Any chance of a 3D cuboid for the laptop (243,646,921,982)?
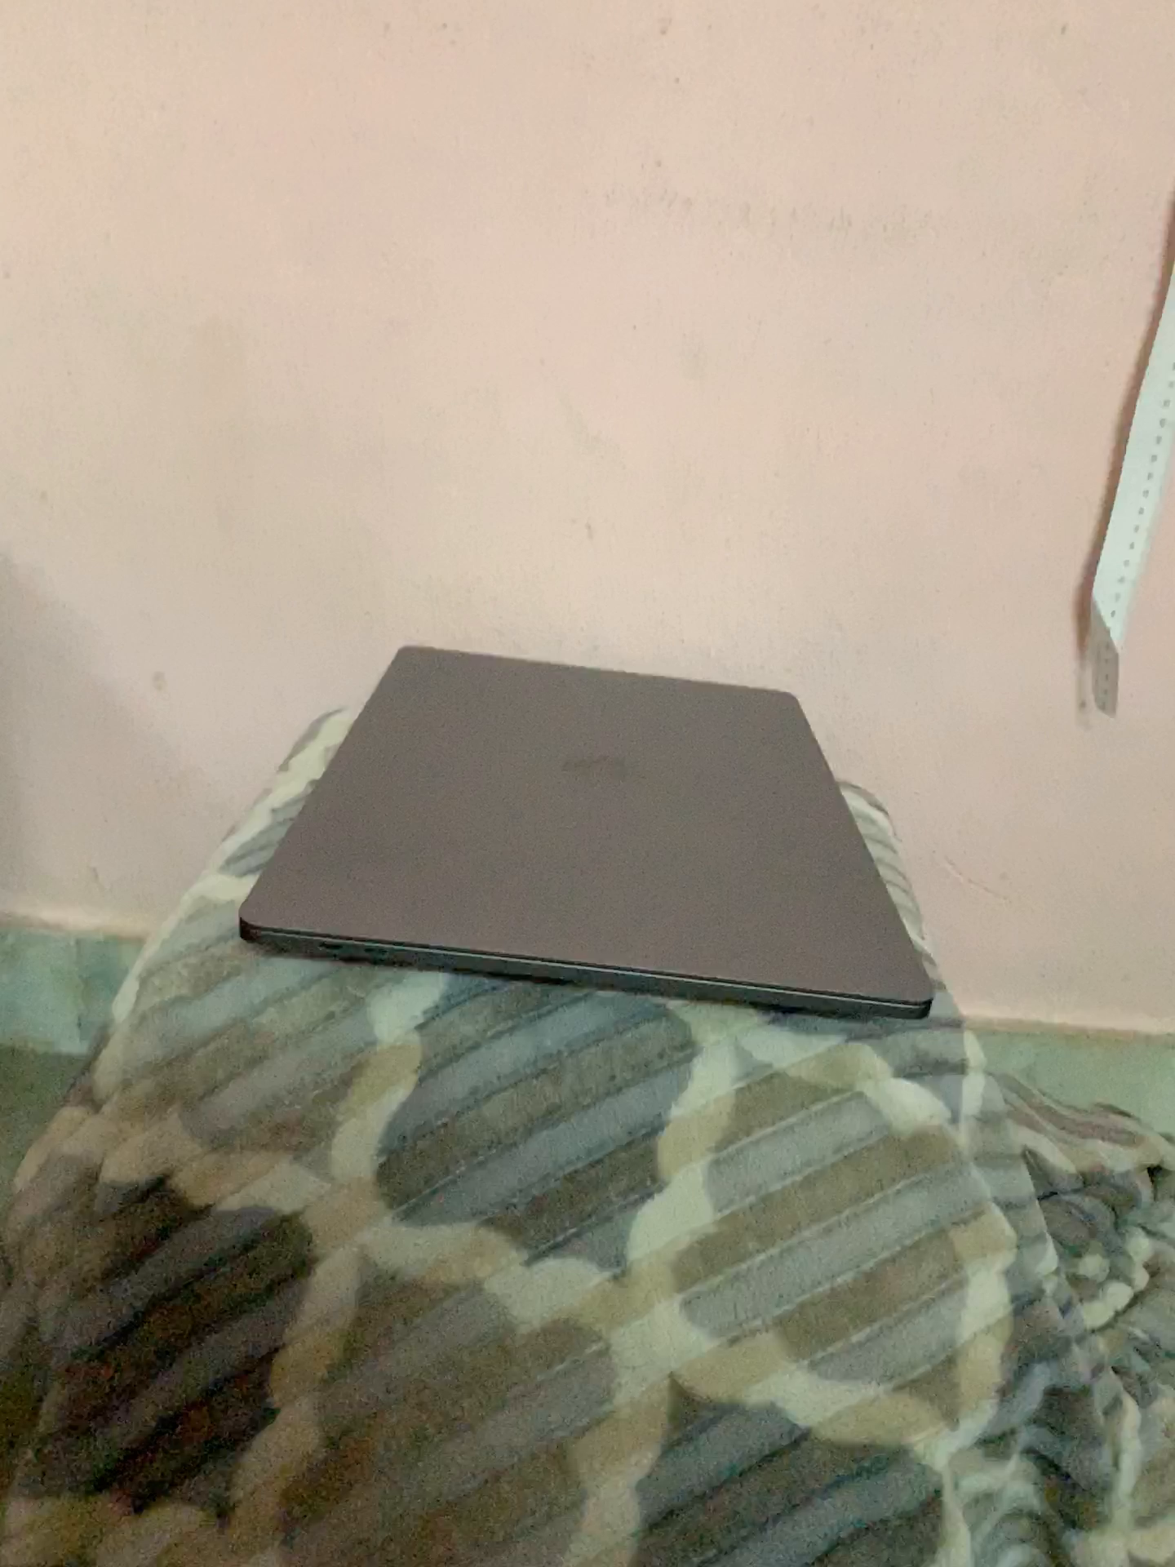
[{"bbox_3d":[0.001,-0.007,0.554,0.228,0.002,0.327,5,22,0],"label":"laptop"}]
